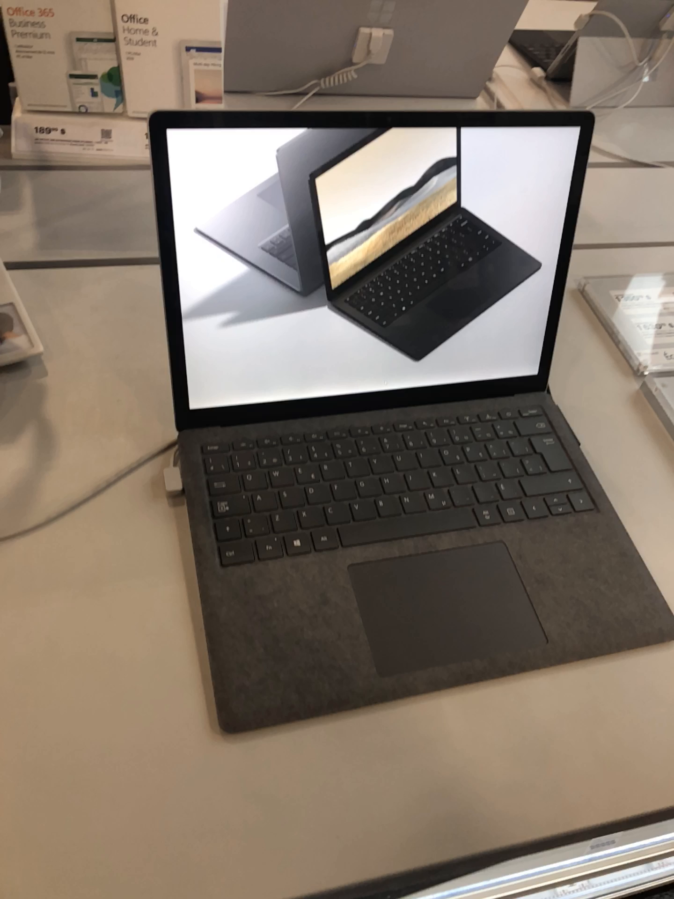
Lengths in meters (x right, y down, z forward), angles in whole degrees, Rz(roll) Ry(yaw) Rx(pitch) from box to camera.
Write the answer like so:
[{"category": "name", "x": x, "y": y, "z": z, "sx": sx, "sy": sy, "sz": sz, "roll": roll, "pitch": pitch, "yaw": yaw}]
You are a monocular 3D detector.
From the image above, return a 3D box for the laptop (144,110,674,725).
[{"category": "laptop", "x": 0.053, "y": -0.040, "z": 0.465, "sx": 0.297, "sy": 0.197, "sz": 0.296, "roll": -7, "pitch": 52, "yaw": -15}]
